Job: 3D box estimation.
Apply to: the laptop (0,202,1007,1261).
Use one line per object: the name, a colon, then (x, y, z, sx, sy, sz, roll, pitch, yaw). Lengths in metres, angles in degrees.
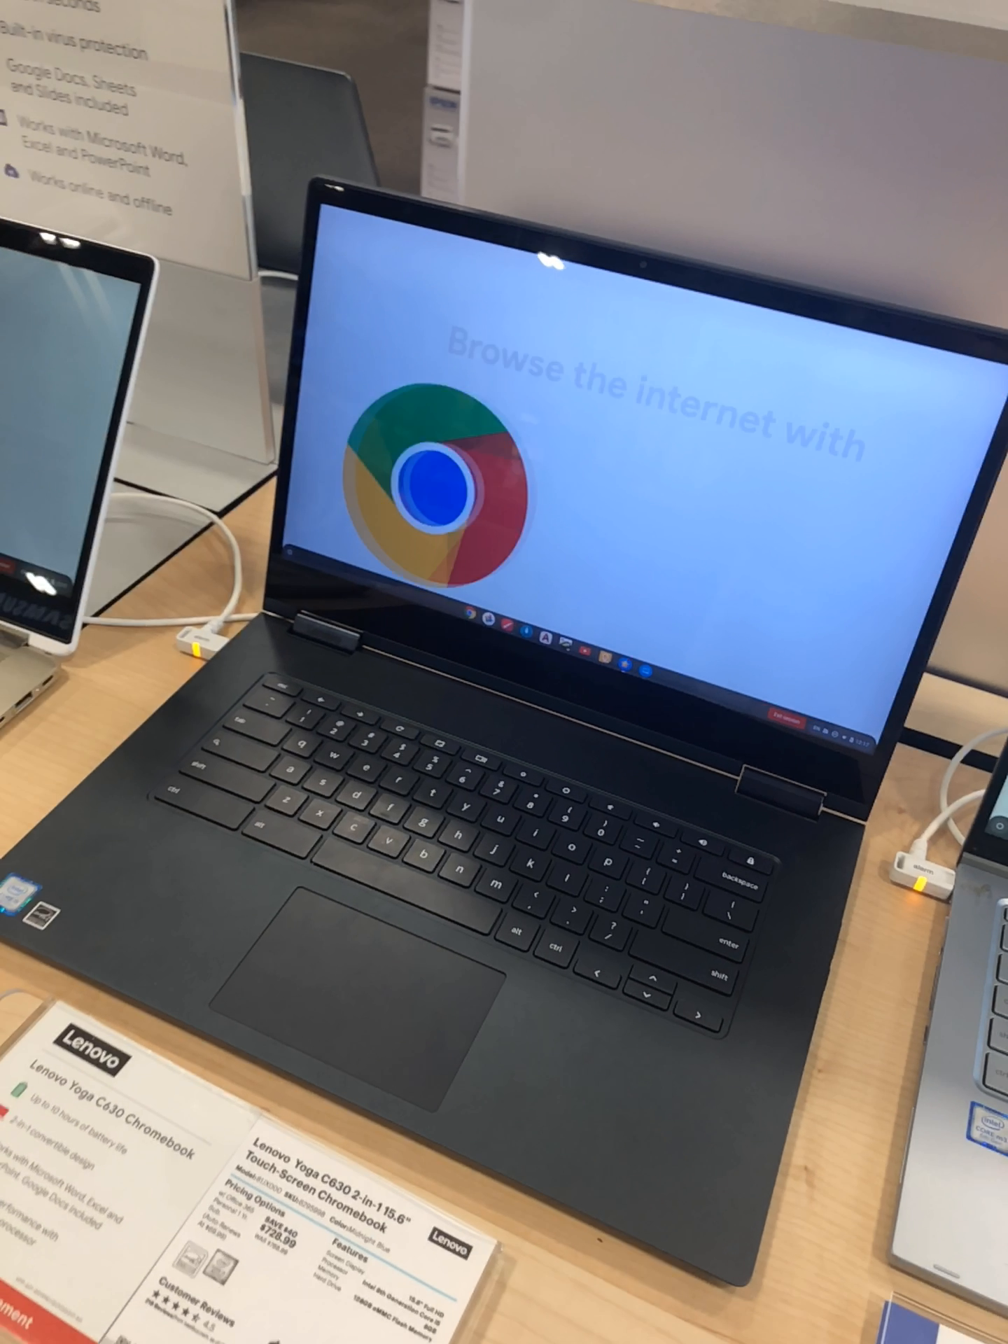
laptop: (-0.003, -0.014, 0.462, 0.343, 0.230, 0.293, 18, 41, 17)
